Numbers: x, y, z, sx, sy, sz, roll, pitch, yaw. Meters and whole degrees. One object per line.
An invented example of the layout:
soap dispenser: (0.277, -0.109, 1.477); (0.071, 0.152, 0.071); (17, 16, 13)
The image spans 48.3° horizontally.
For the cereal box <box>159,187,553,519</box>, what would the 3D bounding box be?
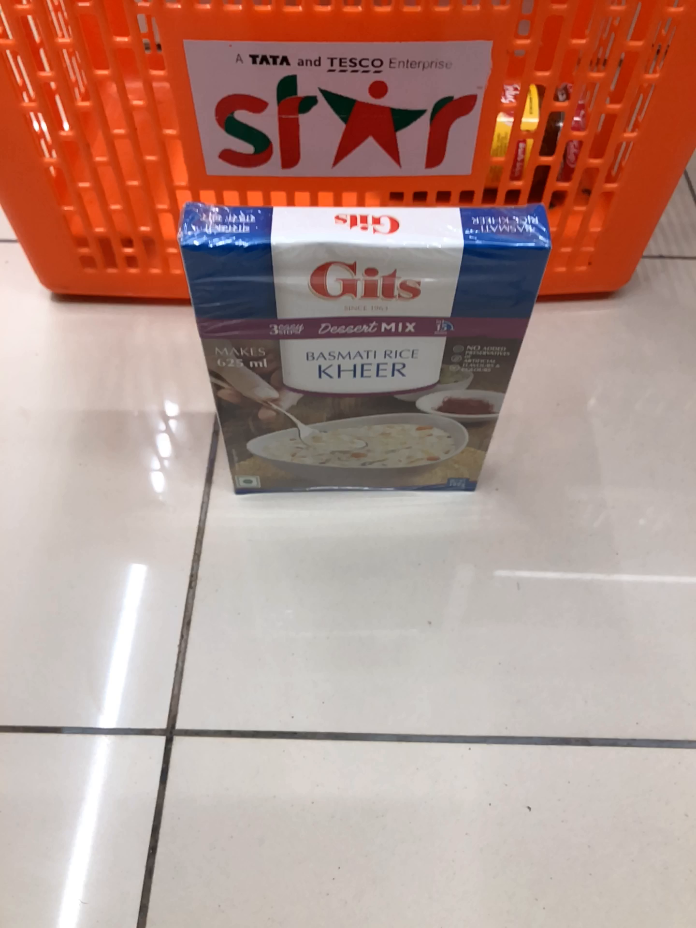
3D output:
cereal box: (0.002, -0.033, 0.310); (0.120, 0.159, 0.030); (-1, 55, -1)
